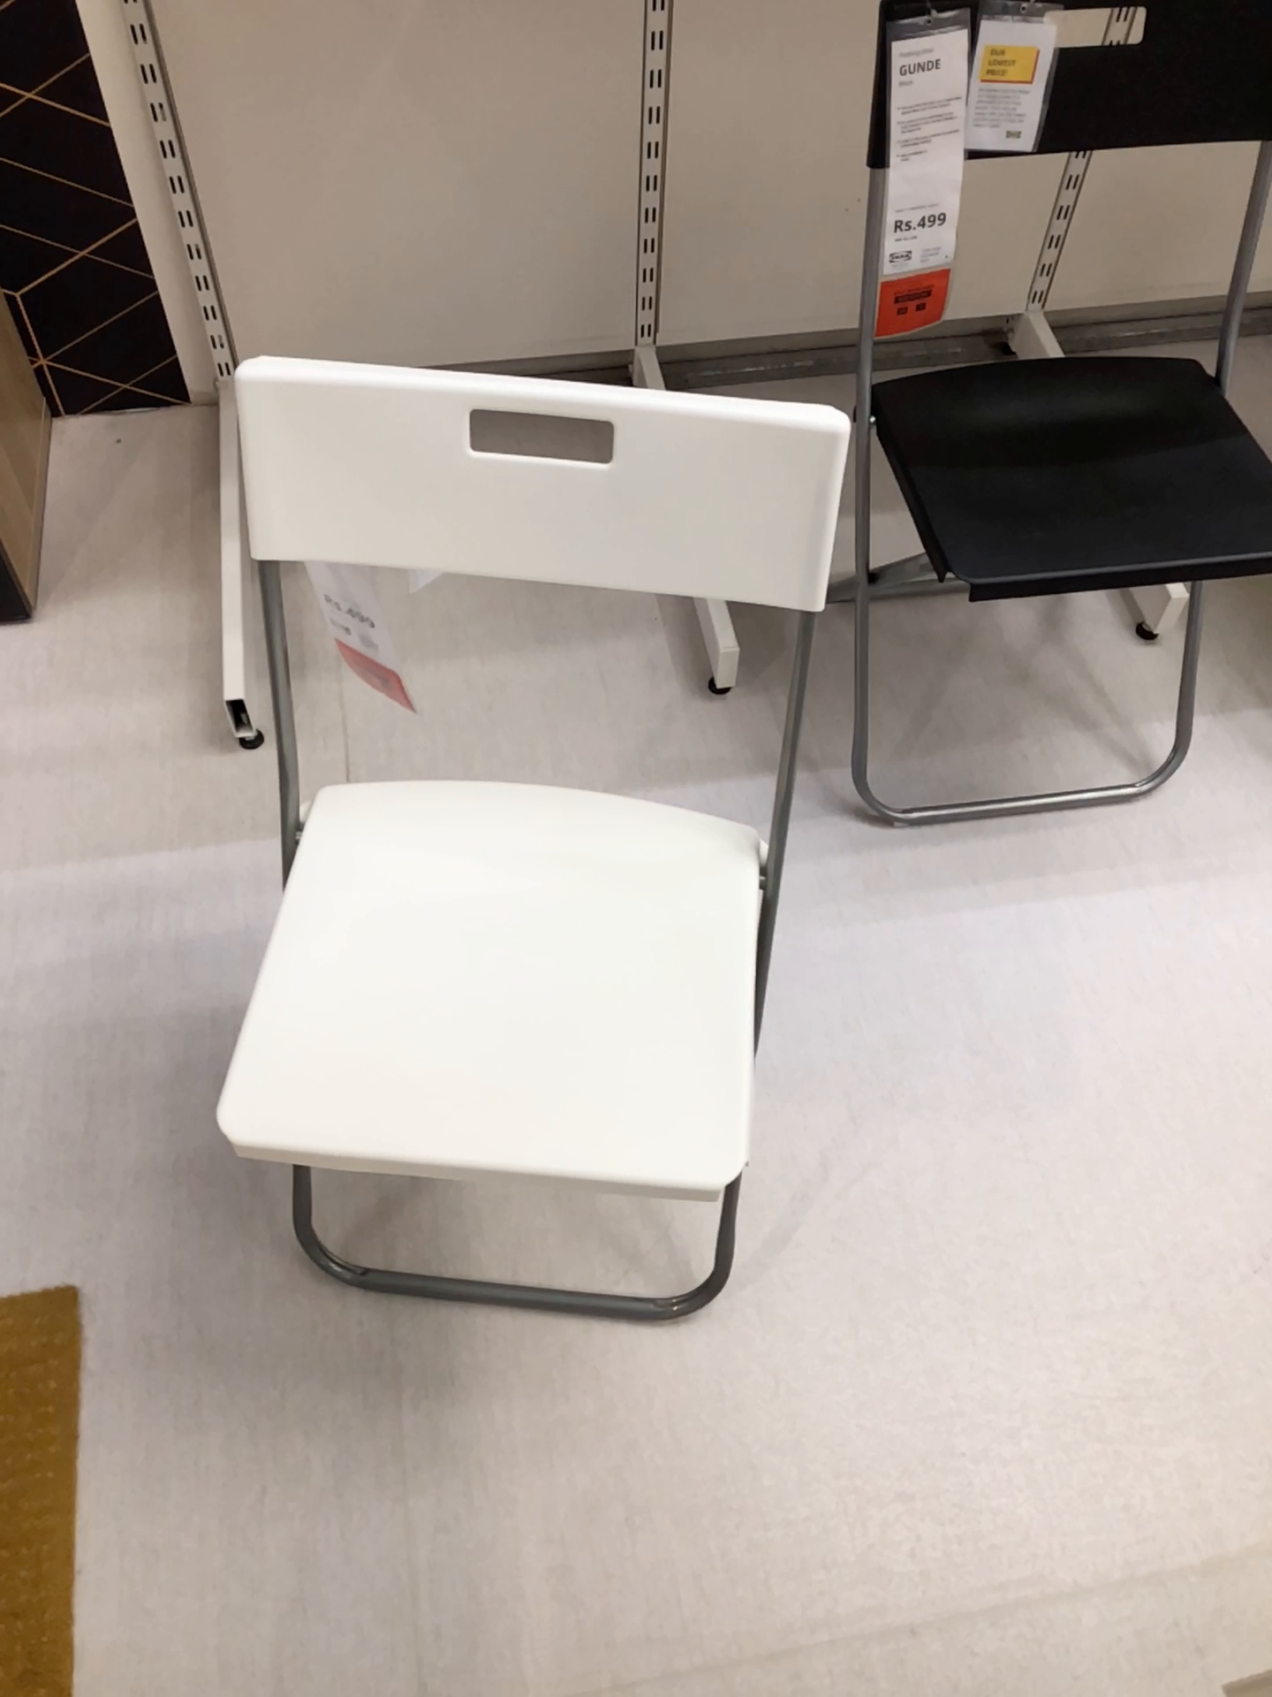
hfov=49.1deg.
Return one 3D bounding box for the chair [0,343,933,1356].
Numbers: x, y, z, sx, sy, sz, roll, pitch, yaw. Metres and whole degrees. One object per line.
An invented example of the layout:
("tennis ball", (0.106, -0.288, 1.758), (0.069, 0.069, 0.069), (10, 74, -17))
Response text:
("chair", (-0.073, 0.065, 1.078), (0.450, 0.726, 0.402), (6, 56, 2))
